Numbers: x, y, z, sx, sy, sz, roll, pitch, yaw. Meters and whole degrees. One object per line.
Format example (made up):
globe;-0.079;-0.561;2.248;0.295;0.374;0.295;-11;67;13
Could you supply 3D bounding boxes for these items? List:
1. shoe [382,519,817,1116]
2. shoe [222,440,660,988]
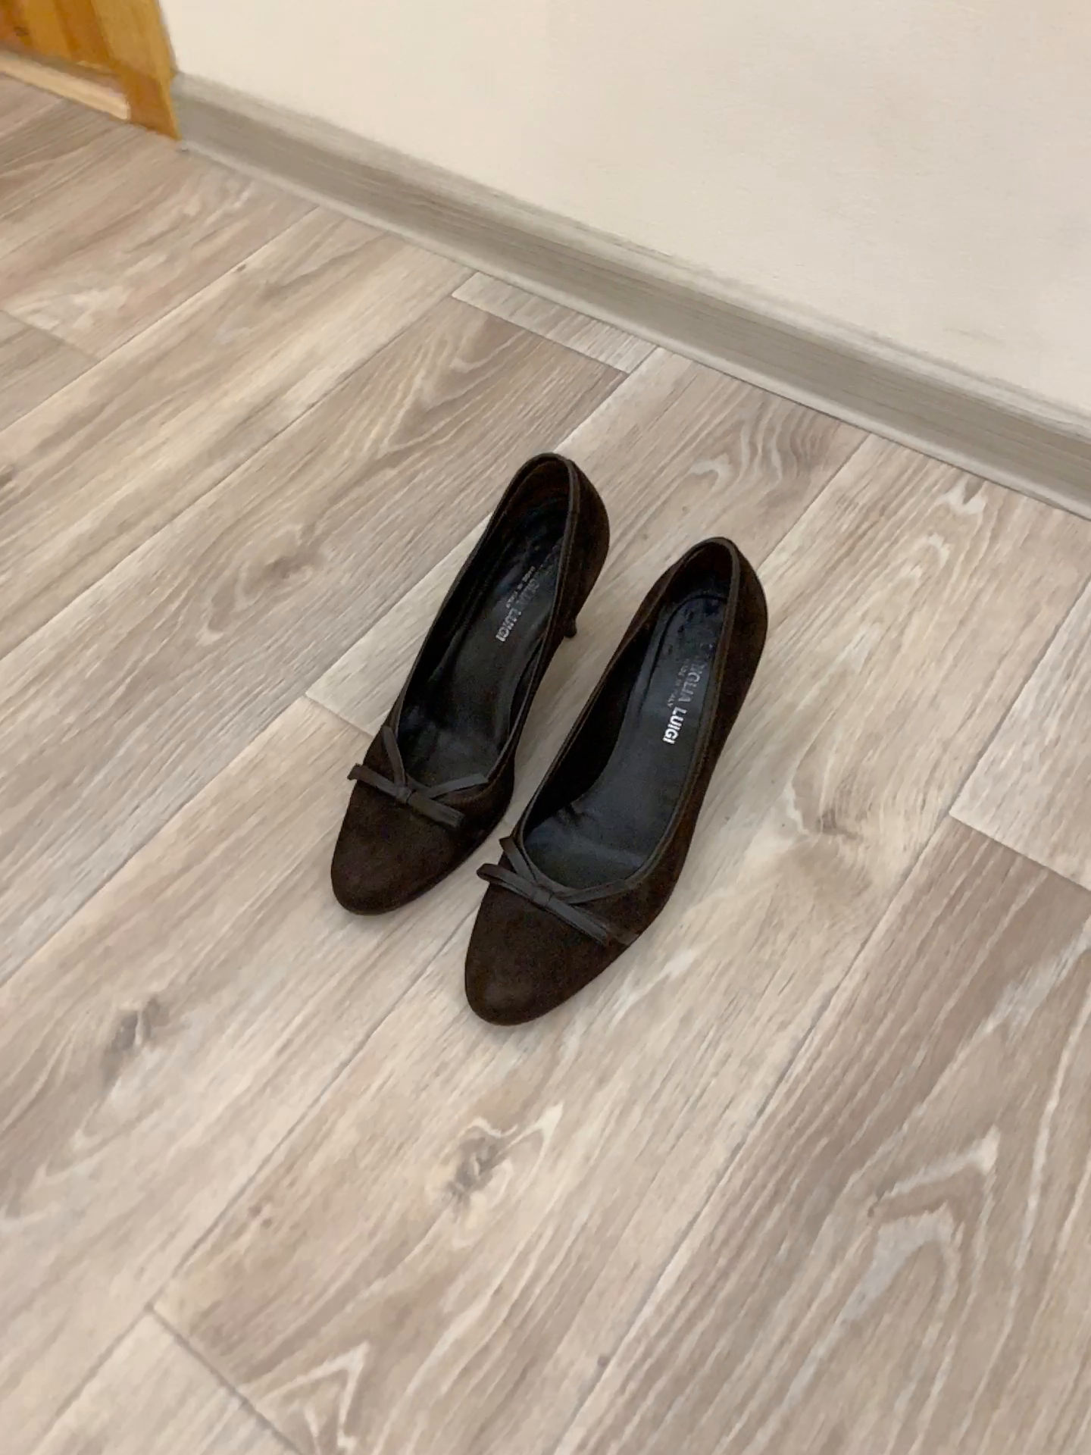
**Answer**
shoe;0.035;0.036;0.538;0.080;0.110;0.261;24;60;17
shoe;-0.038;-0.014;0.575;0.080;0.110;0.261;24;61;18
